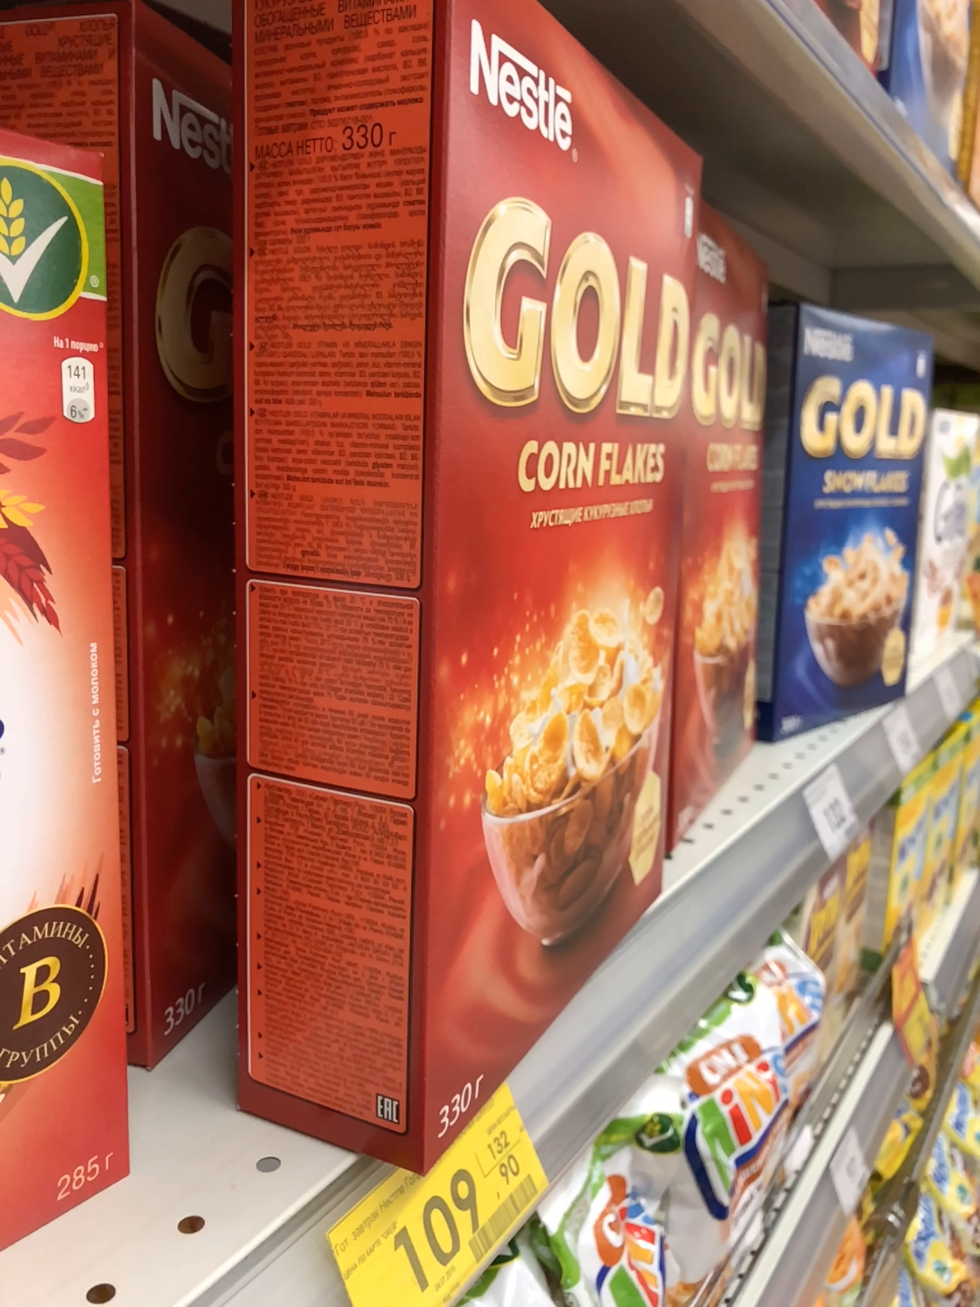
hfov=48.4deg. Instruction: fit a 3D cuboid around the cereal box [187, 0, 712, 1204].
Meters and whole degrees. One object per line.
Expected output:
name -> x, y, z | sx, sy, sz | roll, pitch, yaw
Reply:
cereal box -> 0.001, -0.029, 0.329 | 0.060, 0.279, 0.201 | 7, 12, 25
